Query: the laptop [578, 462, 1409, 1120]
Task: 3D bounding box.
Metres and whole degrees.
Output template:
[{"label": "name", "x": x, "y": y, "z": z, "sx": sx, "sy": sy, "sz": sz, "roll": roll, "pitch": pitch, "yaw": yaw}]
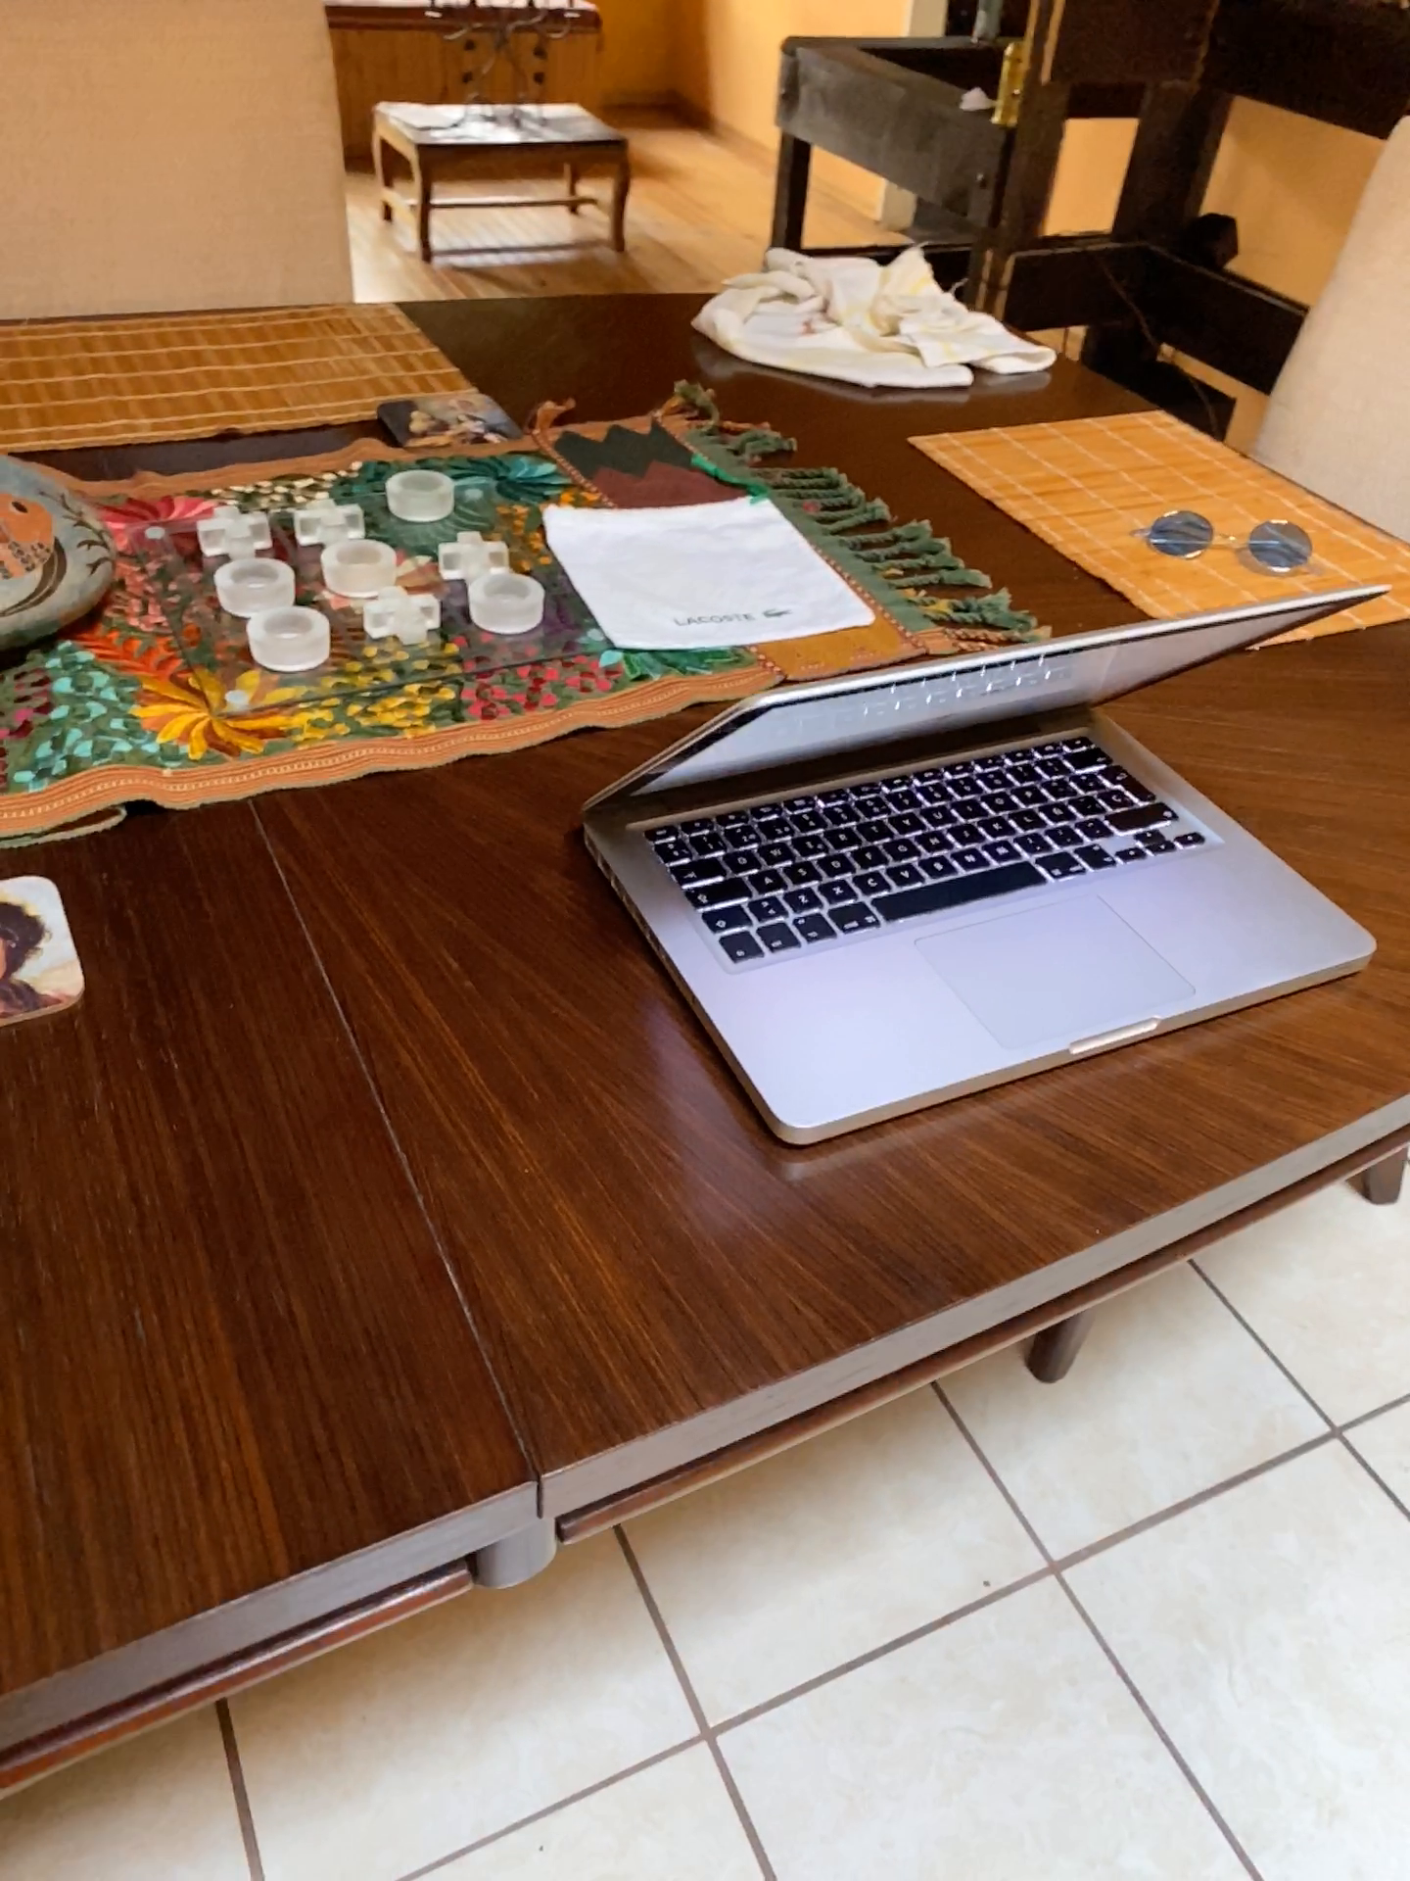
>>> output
[{"label": "laptop", "x": 0.132, "y": -0.089, "z": 0.669, "sx": 0.322, "sy": 0.152, "sz": 0.213, "roll": -15, "pitch": 44, "yaw": -24}]
